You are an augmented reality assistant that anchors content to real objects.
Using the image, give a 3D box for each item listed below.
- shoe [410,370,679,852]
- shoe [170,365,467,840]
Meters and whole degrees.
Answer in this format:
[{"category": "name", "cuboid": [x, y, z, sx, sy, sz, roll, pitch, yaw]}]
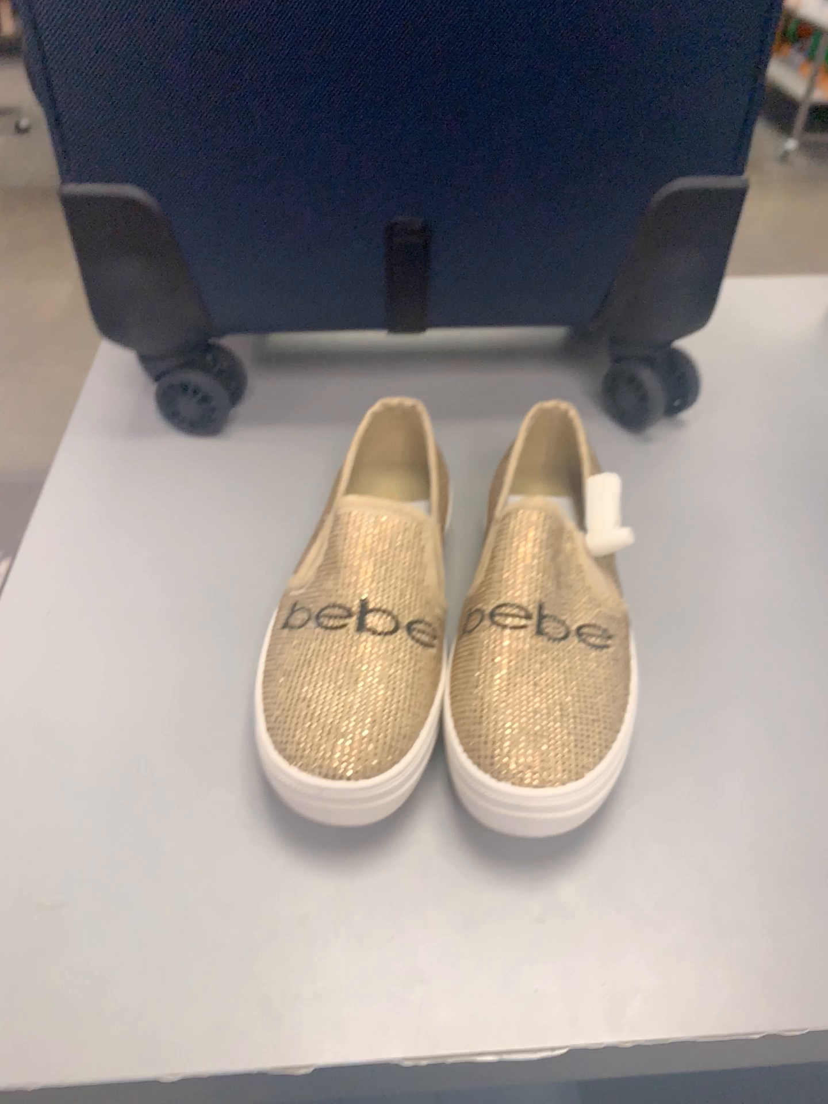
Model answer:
[{"category": "shoe", "cuboid": [0.057, 0.013, 0.408, 0.093, 0.086, 0.223, 3, 45, 5]}, {"category": "shoe", "cuboid": [-0.029, 0.010, 0.412, 0.093, 0.086, 0.223, 3, 45, 5]}]
